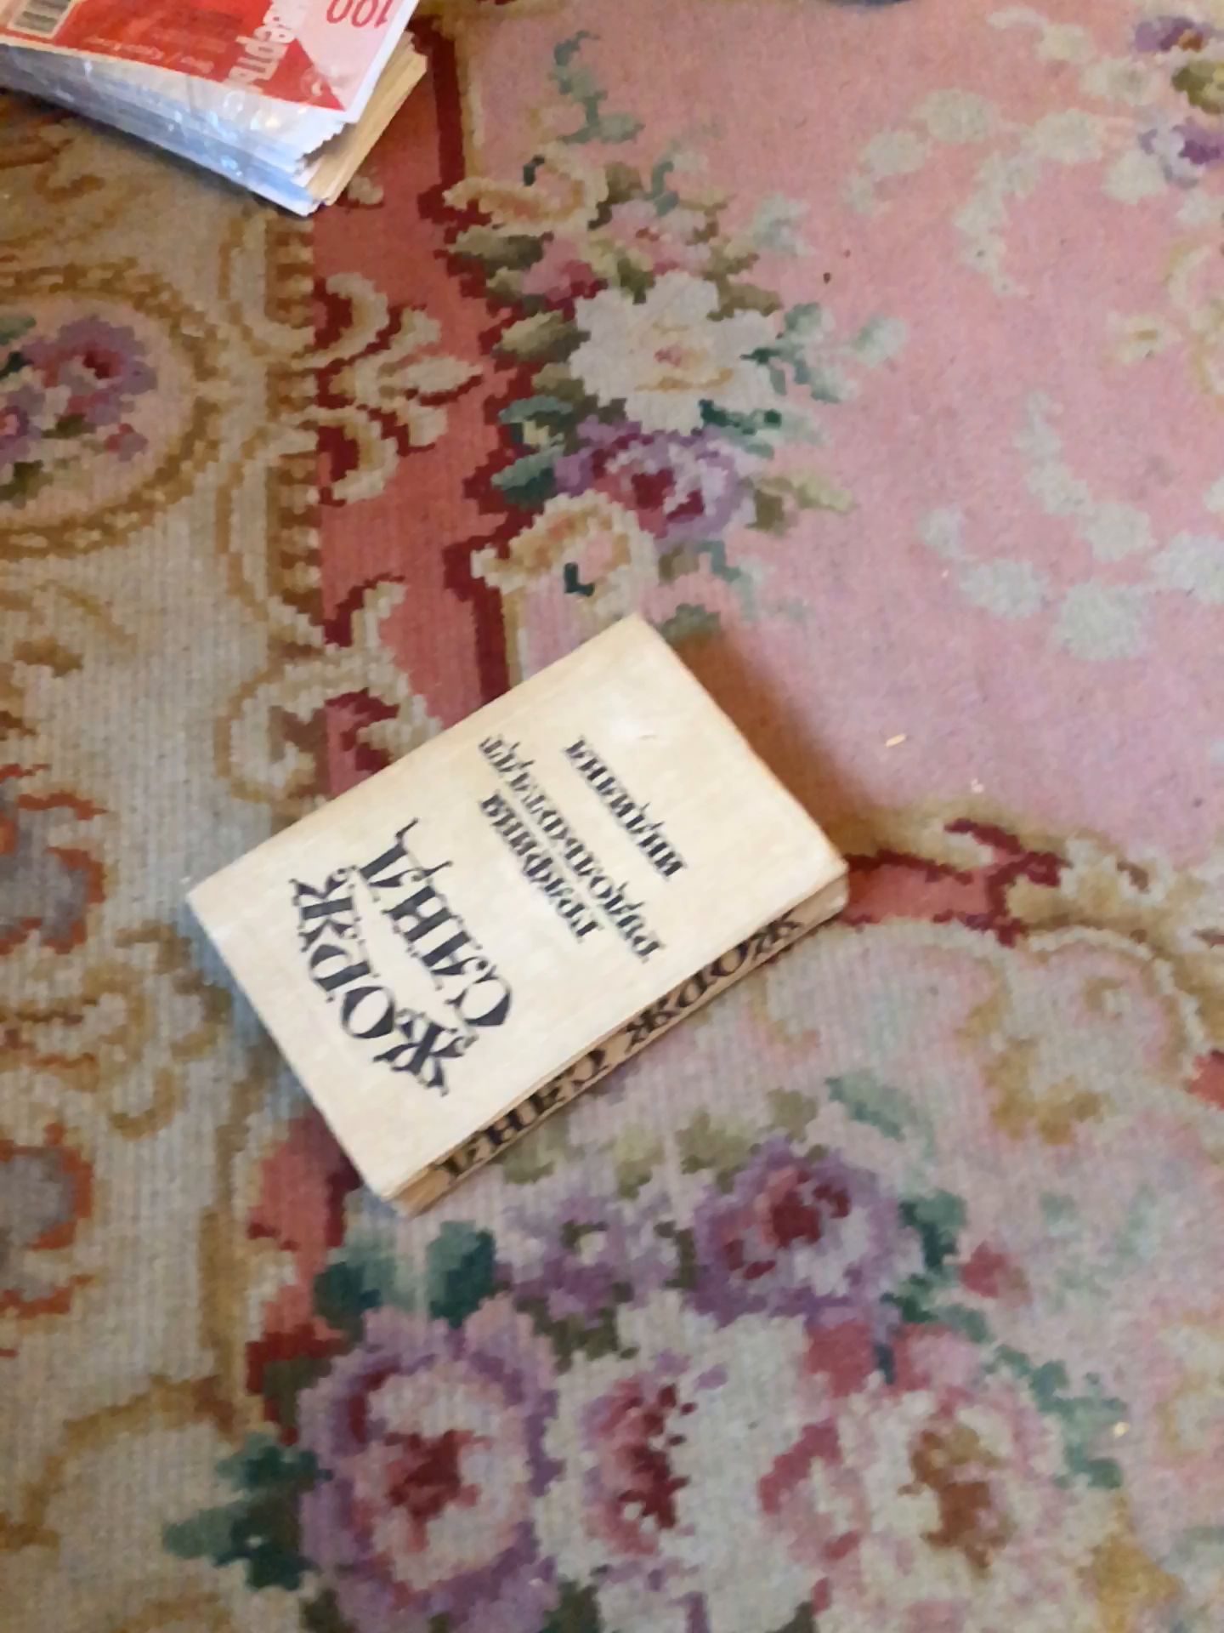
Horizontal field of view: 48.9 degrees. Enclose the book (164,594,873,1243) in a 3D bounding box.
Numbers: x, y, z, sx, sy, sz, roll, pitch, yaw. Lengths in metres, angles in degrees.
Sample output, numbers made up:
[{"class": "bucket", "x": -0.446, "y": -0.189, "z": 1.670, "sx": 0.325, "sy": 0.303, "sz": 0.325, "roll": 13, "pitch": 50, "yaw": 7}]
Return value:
[{"class": "book", "x": -0.035, "y": 0.036, "z": 0.533, "sx": 0.220, "sy": 0.057, "sz": 0.150, "roll": -34, "pitch": 72, "yaw": -13}]
